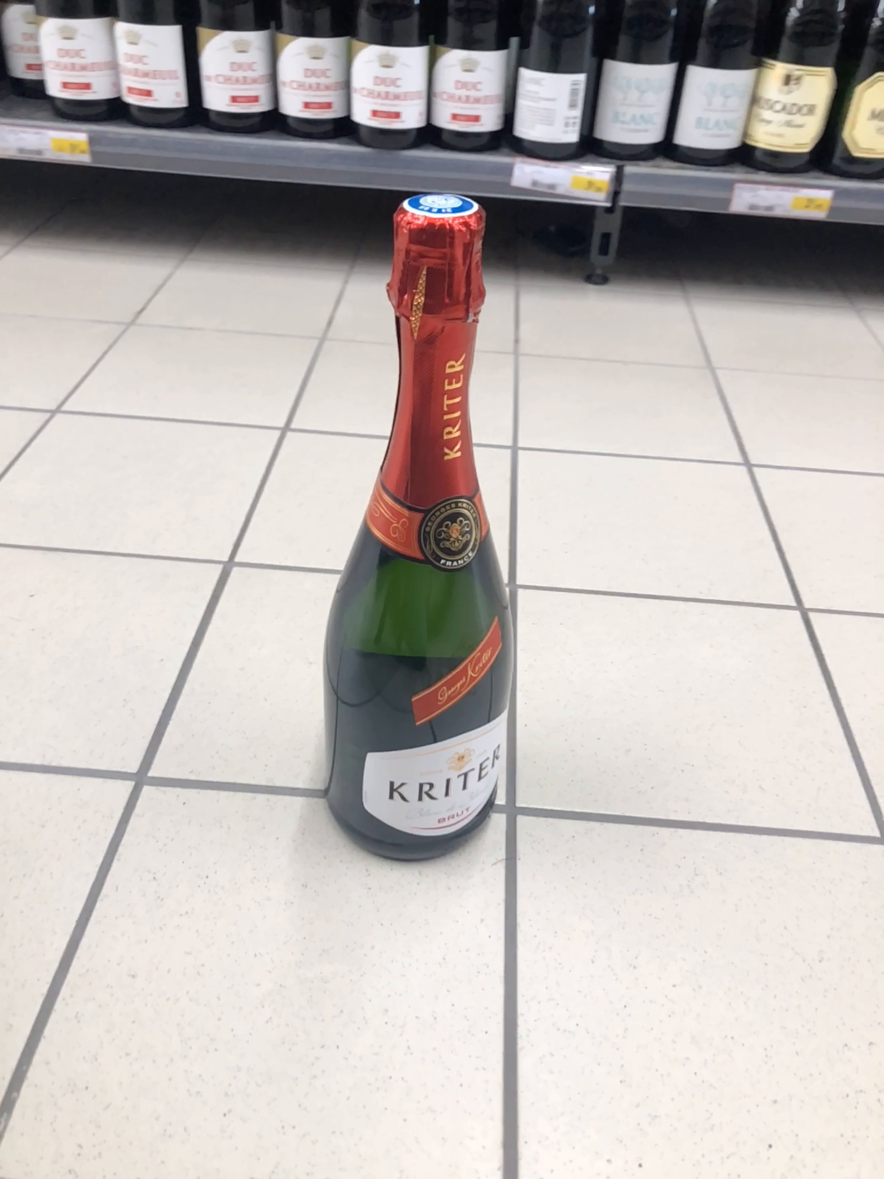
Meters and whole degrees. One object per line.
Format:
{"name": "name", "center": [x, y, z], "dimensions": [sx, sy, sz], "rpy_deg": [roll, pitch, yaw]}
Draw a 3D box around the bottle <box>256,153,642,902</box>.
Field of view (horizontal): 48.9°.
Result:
{"name": "bottle", "center": [-0.010, -0.015, 0.418], "dimensions": [0.100, 0.298, 0.100], "rpy_deg": [3, 35, -2]}
